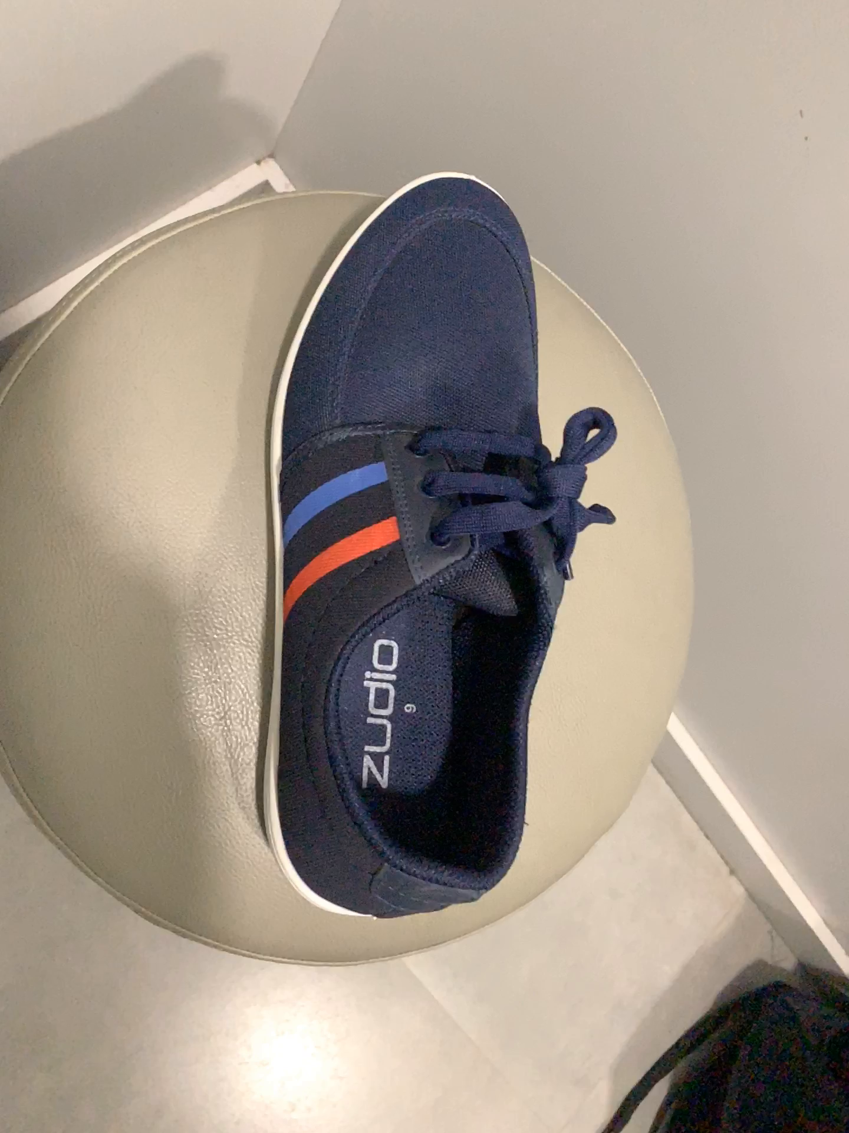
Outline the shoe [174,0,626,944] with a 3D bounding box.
[{"bbox_3d":[-0.011,-0.030,0.317,0.100,0.100,0.290,10,82,-22],"label":"shoe"}]
